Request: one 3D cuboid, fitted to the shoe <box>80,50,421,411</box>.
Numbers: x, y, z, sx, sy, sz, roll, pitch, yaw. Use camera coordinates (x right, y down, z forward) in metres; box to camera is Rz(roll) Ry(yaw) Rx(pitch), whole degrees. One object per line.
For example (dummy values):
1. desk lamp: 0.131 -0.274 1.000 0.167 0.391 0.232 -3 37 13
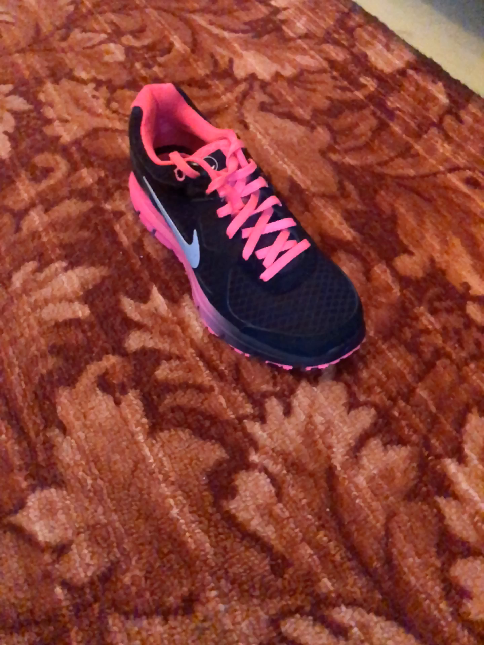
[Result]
1. shoe: -0.008 -0.076 0.392 0.100 0.110 0.241 -30 62 -20
